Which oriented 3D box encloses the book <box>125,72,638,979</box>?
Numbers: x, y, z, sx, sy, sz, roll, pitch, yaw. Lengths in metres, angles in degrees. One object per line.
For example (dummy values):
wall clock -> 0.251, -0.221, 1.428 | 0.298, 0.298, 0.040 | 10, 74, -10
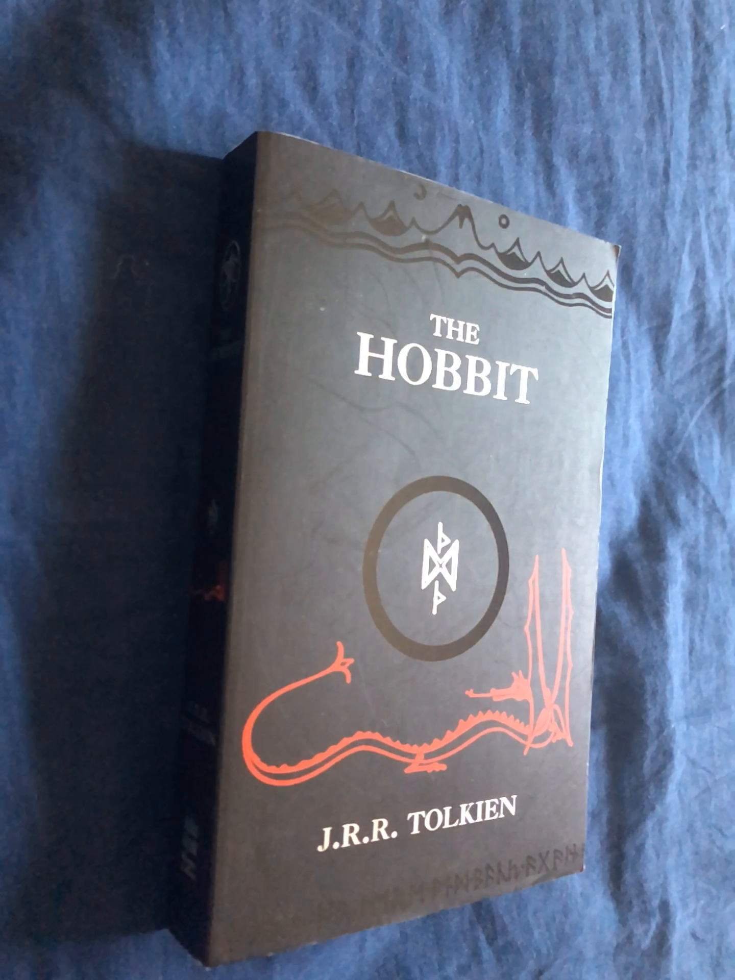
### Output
book -> 0.010, 0.011, 0.207 | 0.120, 0.040, 0.180 | 5, 86, -34
